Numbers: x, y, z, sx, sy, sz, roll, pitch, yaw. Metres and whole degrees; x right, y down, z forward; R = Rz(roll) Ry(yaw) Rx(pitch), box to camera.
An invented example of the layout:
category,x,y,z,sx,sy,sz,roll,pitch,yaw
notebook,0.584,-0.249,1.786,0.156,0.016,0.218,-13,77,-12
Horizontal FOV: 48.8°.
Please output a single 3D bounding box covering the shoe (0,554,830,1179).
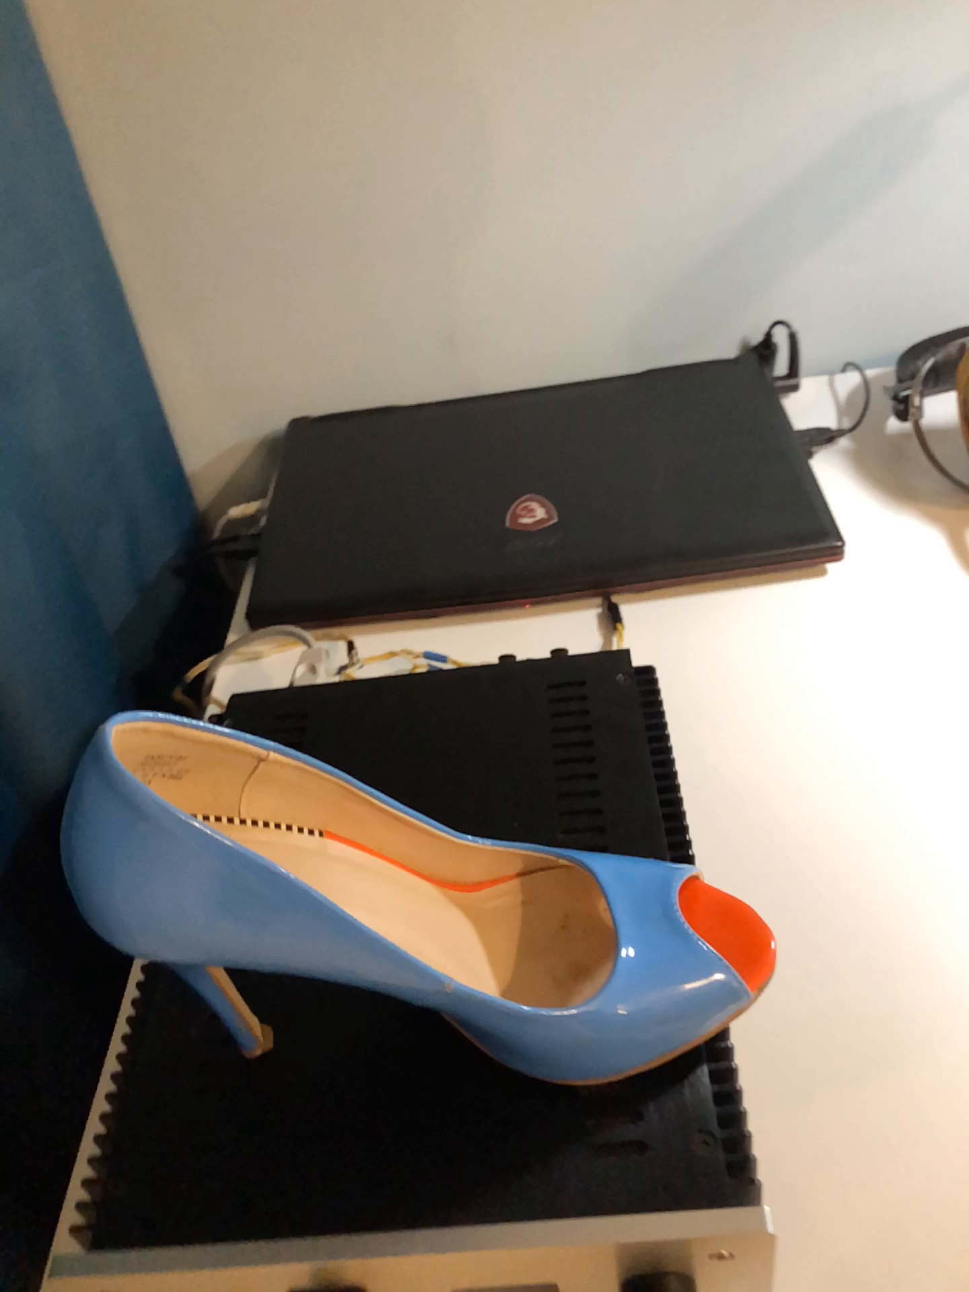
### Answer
category,x,y,z,sx,sy,sz,roll,pitch,yaw
shoe,-0.018,0.075,0.336,0.220,0.149,0.081,-11,40,1
